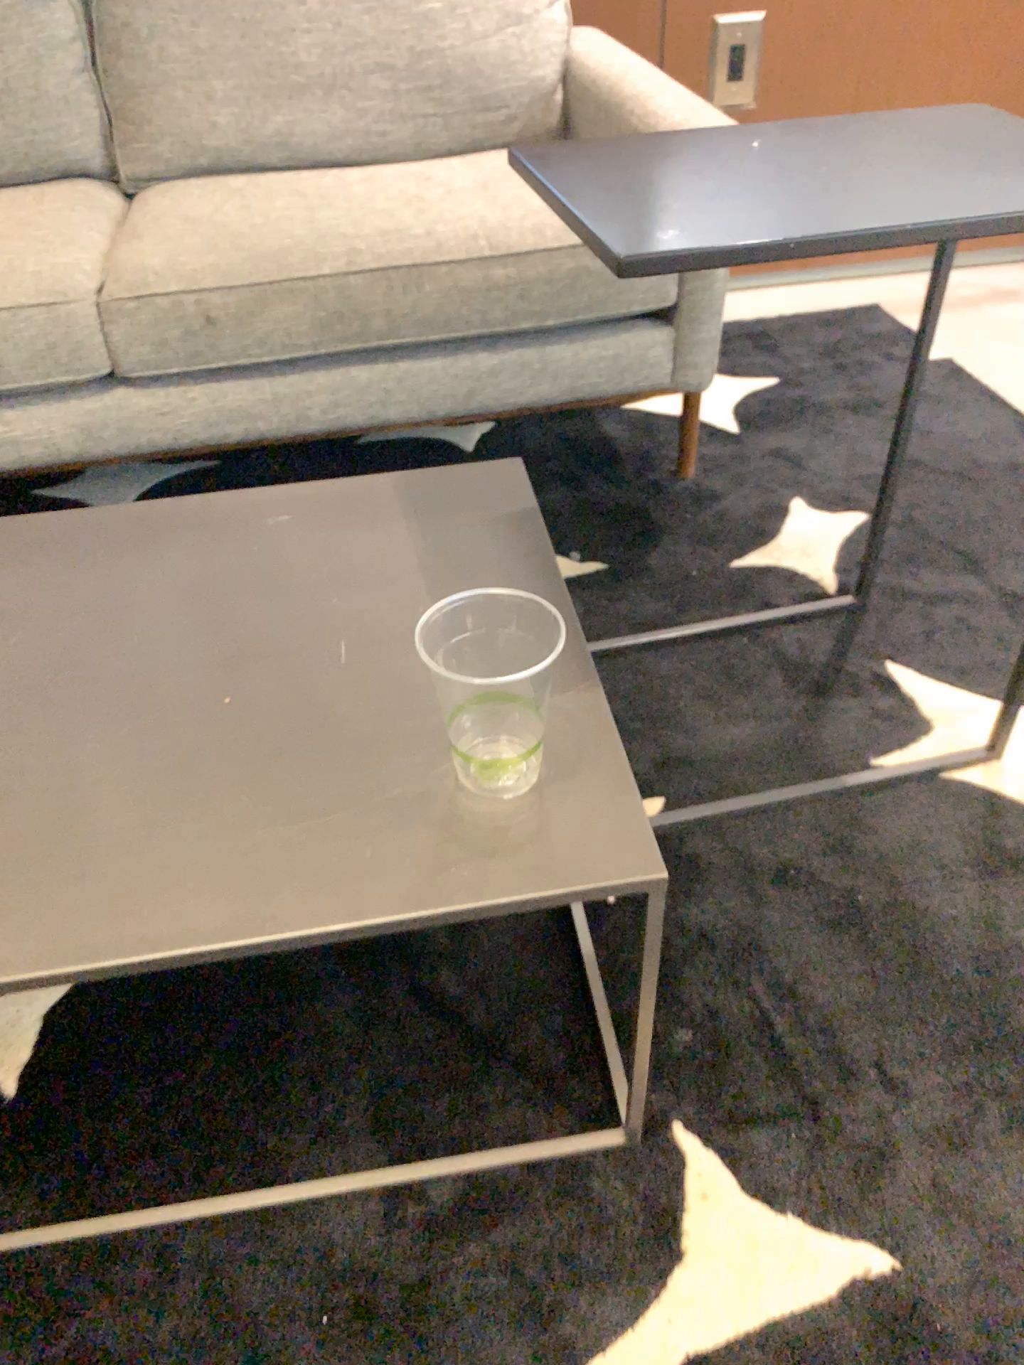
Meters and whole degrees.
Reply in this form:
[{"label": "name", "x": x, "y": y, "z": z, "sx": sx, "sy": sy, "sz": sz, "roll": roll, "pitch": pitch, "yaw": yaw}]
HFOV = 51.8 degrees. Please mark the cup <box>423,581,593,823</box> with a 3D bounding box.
[{"label": "cup", "x": -0.003, "y": 0.012, "z": 0.659, "sx": 0.090, "sy": 0.109, "sz": 0.091, "roll": -1, "pitch": 40, "yaw": 1}]
